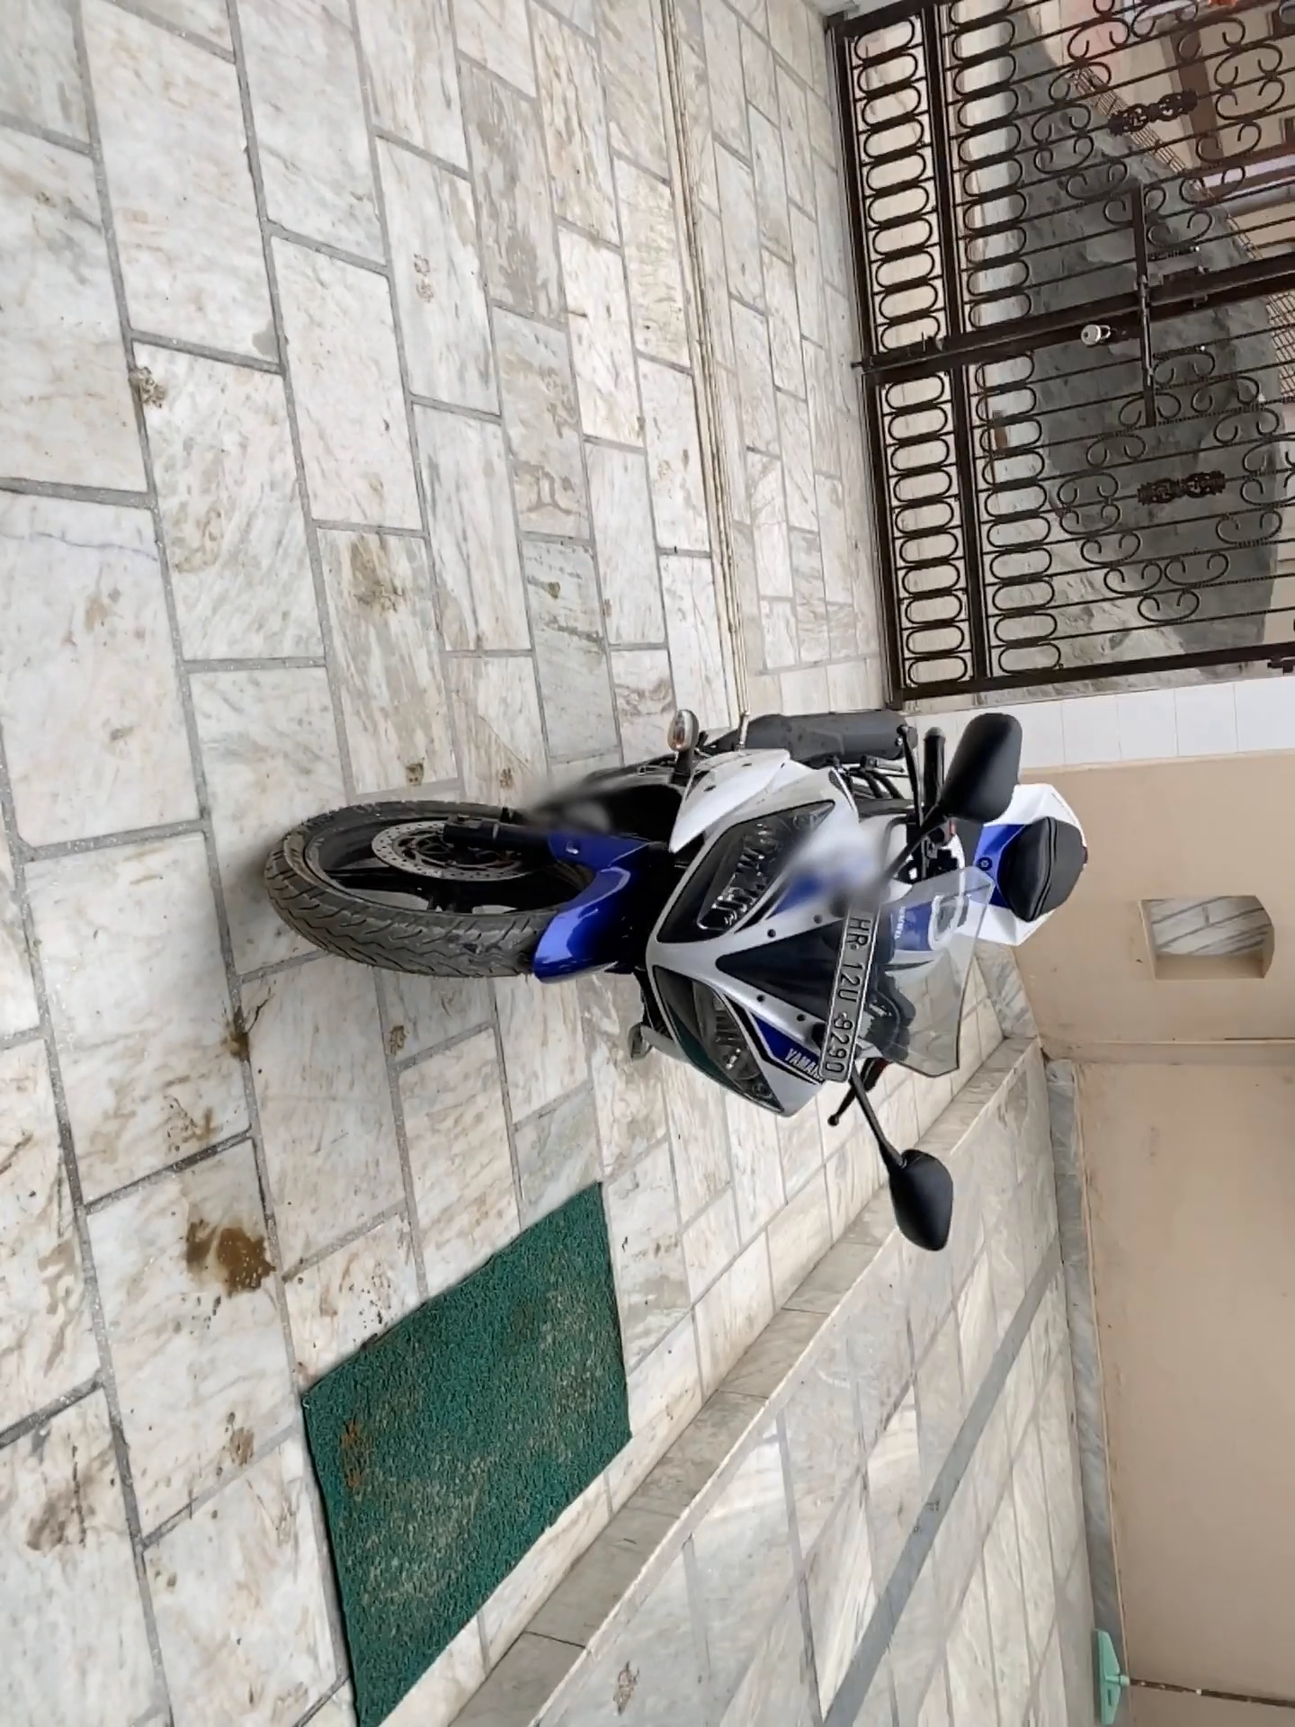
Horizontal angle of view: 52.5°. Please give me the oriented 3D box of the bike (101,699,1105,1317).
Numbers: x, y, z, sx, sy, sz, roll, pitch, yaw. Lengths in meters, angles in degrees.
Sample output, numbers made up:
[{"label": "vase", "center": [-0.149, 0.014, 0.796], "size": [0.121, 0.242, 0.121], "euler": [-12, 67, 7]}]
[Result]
[{"label": "bike", "center": [0.142, 0.106, 2.574], "size": [1.893, 0.902, 0.733], "euler": [-13, 99, -56]}]
